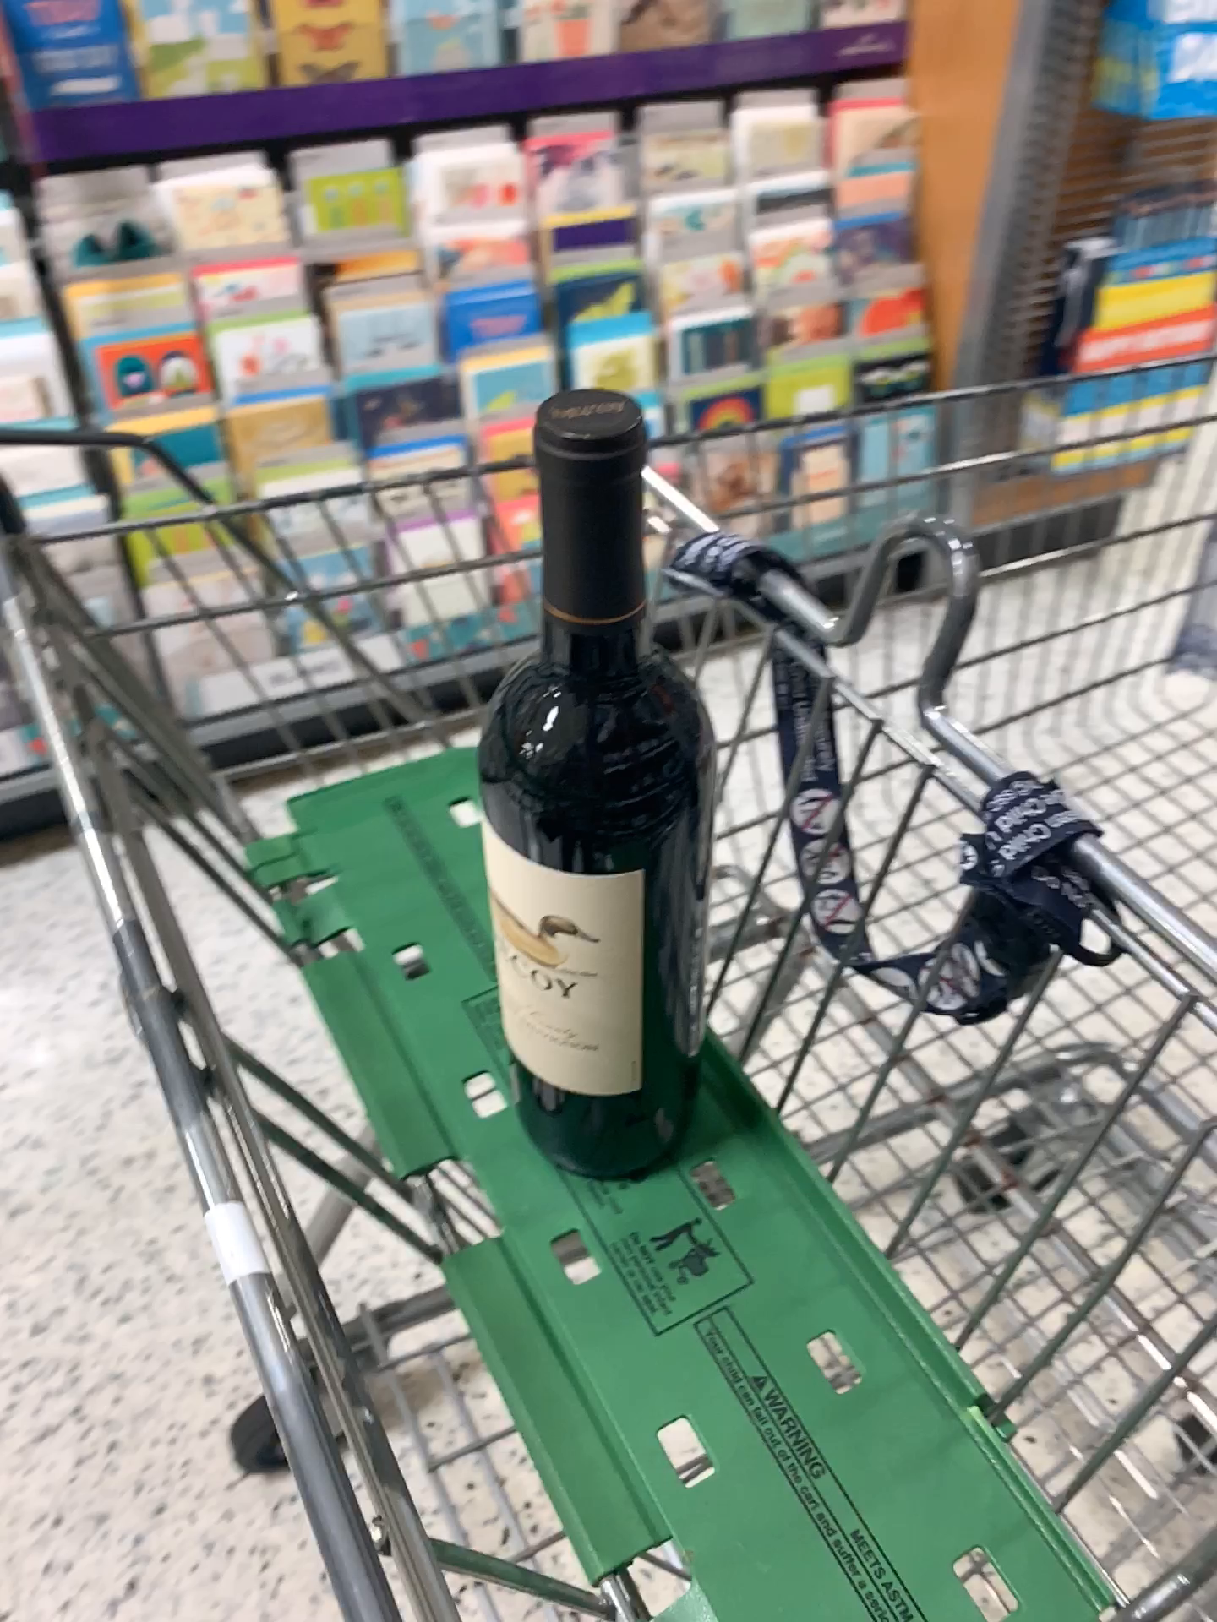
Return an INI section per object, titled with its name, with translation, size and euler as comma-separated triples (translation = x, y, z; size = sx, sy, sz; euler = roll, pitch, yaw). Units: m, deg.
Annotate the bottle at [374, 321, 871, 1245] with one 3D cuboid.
[bottle]
translation = 0.003, 0.010, 0.421
size = 0.090, 0.297, 0.091
euler = 0, 42, 0
